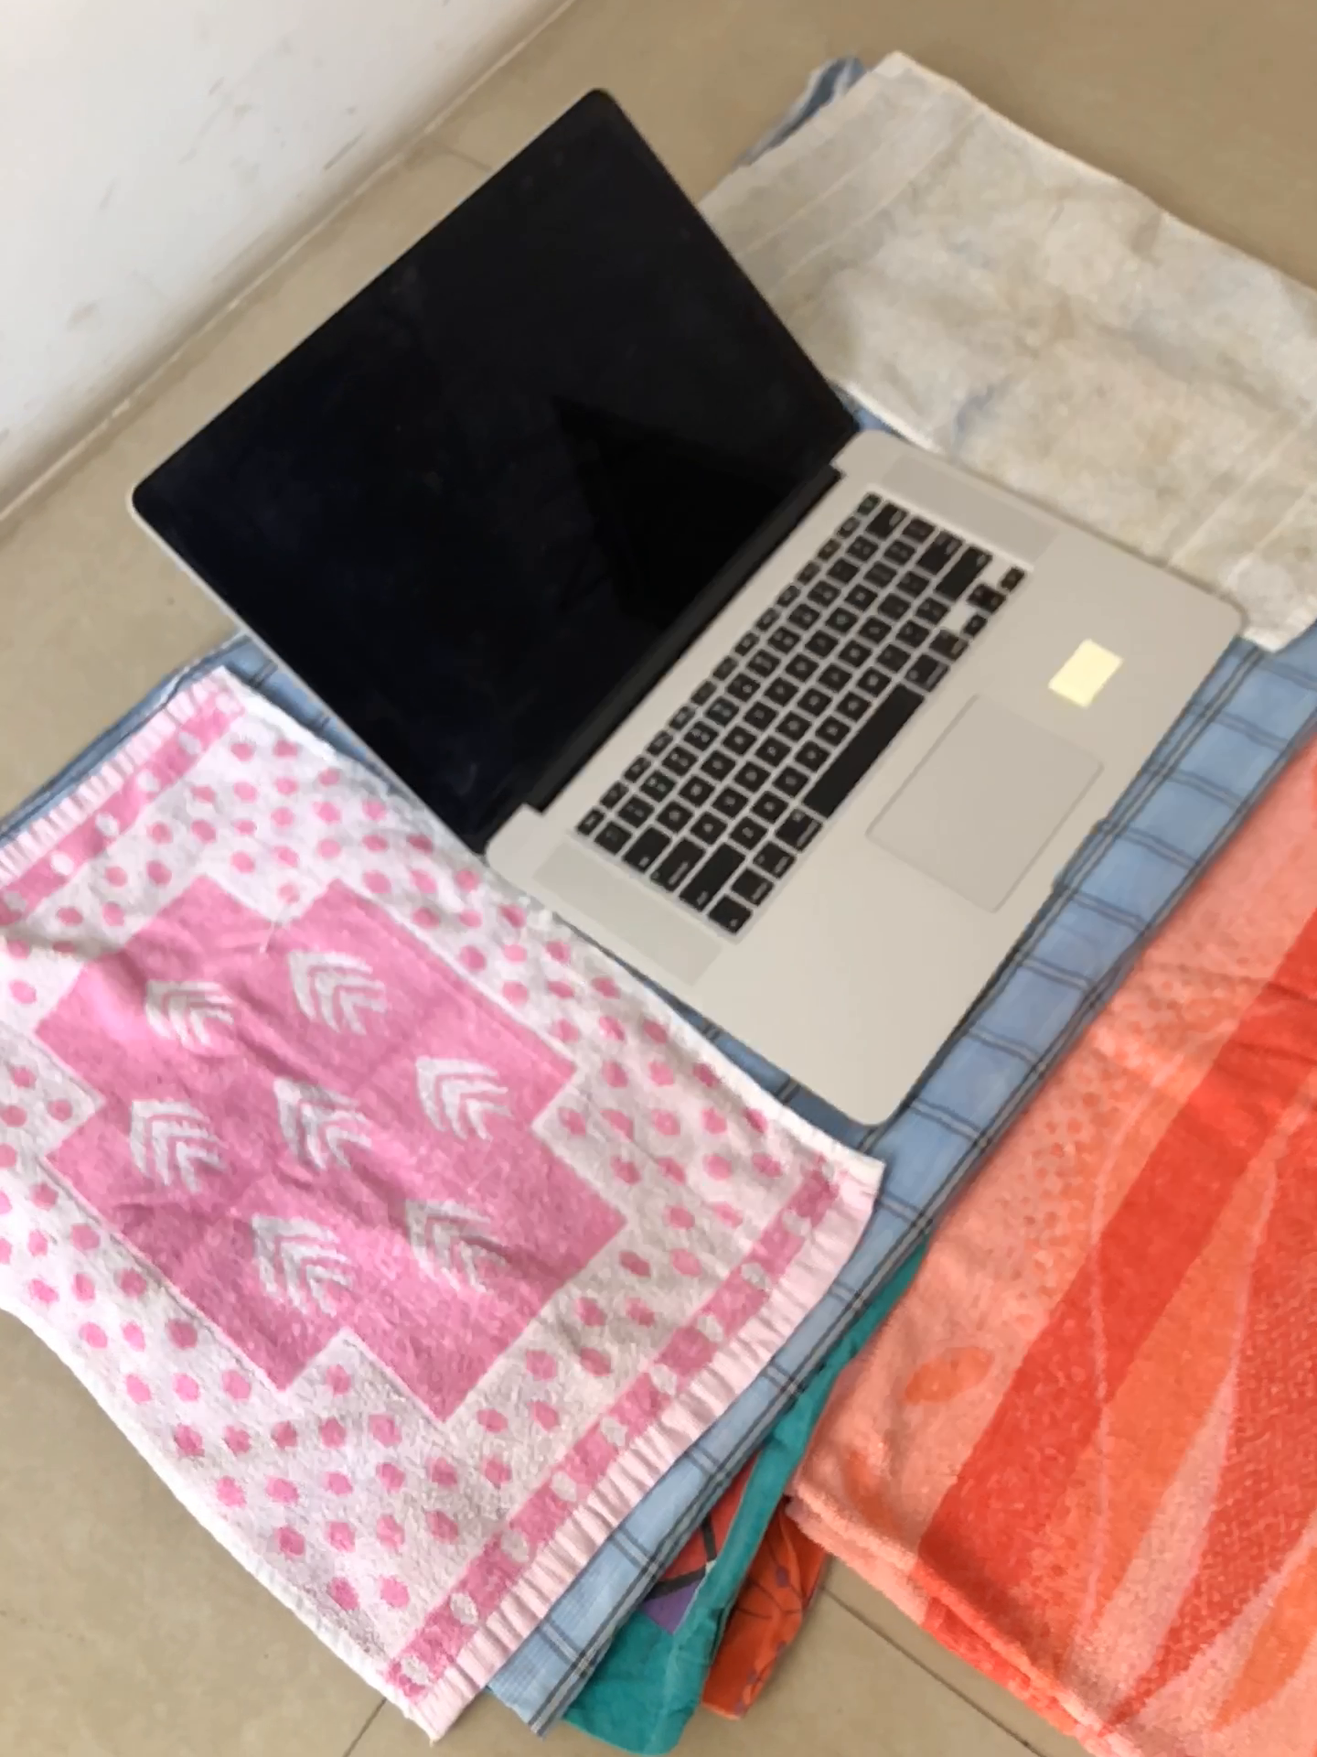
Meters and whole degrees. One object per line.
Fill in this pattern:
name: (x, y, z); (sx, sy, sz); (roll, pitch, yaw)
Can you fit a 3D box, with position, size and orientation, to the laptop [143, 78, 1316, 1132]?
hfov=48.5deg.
laptop: (0.034, -0.153, 0.717); (0.413, 0.144, 0.344); (34, 71, 18)
